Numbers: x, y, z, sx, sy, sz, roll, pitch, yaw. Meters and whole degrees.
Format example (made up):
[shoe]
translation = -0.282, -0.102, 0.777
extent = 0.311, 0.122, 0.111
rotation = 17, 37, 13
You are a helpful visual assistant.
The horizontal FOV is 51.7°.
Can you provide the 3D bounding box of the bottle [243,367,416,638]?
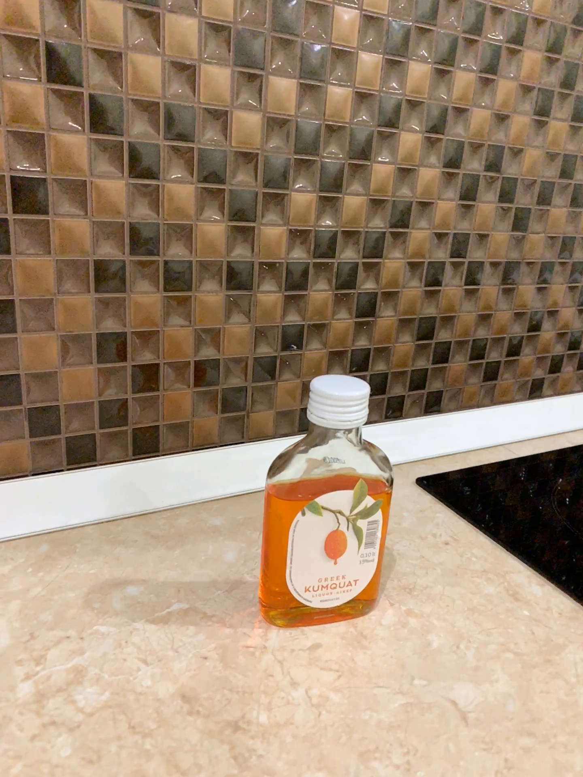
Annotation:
[bottle]
translation = 0.016, 0.059, 0.318
extent = 0.070, 0.133, 0.040
rotation = -1, 20, -16
